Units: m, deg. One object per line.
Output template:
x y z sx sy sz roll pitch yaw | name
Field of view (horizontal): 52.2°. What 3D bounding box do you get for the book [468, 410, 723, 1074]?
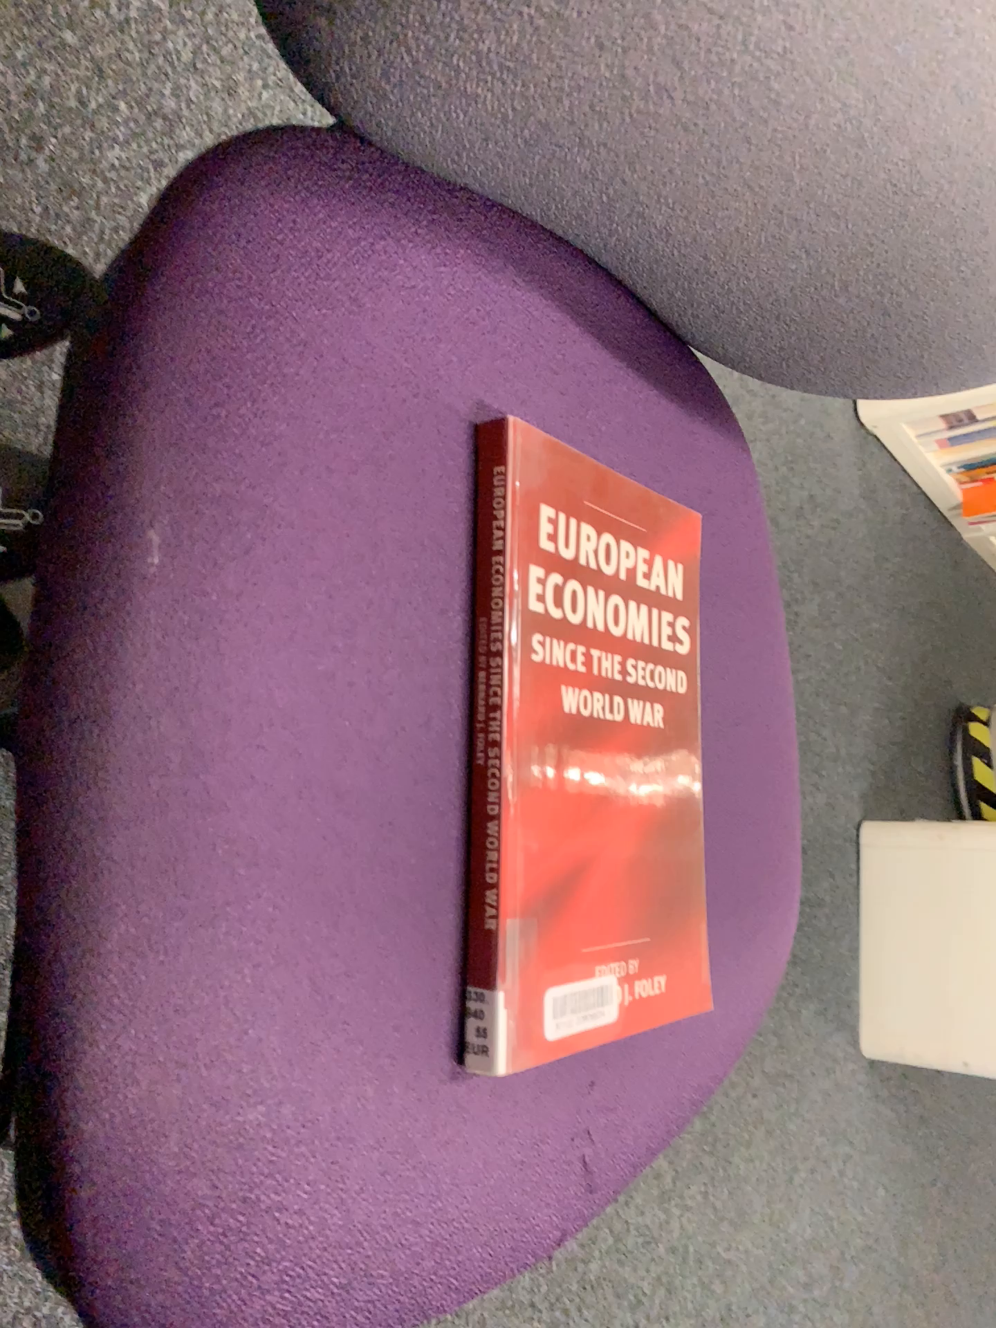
0.046 0.031 0.409 0.149 0.020 0.225 11 77 -51 | book
